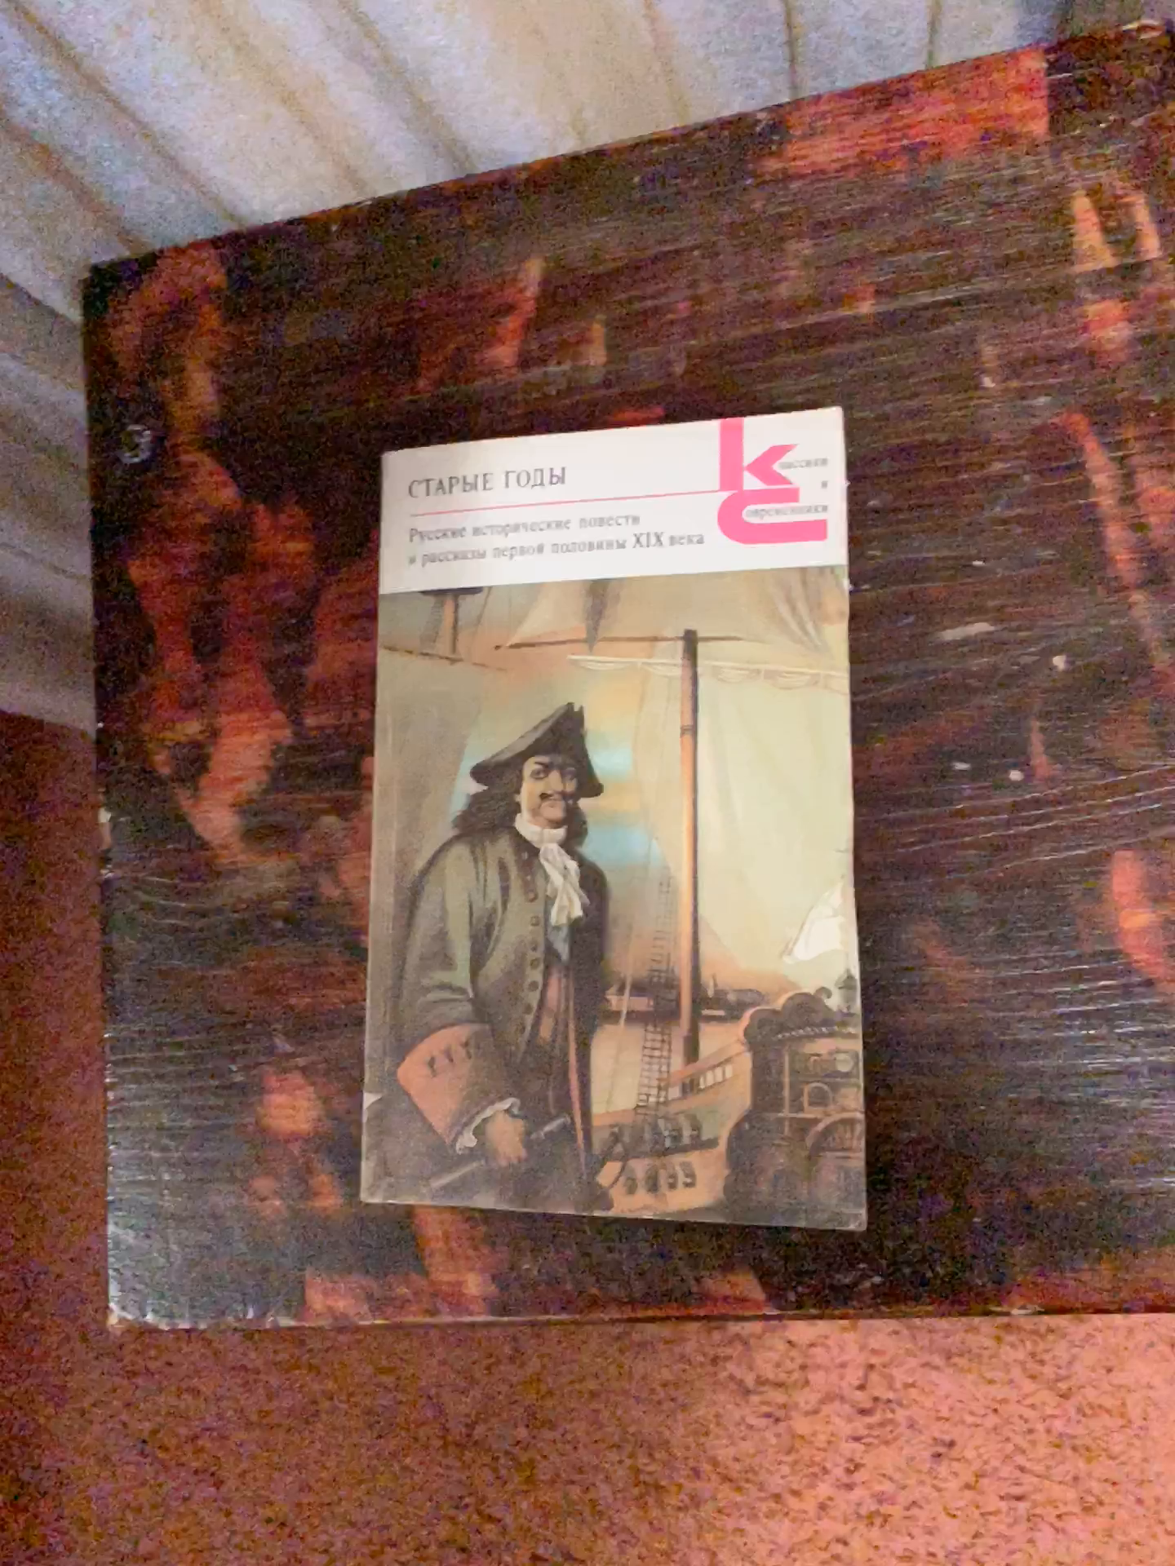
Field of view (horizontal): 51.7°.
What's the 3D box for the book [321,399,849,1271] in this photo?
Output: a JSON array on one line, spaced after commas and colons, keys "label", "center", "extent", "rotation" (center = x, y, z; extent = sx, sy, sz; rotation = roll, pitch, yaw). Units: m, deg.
[{"label": "book", "center": [-0.002, 0.011, 0.301], "extent": [0.123, 0.026, 0.197], "rotation": [-2, 83, 14]}]
